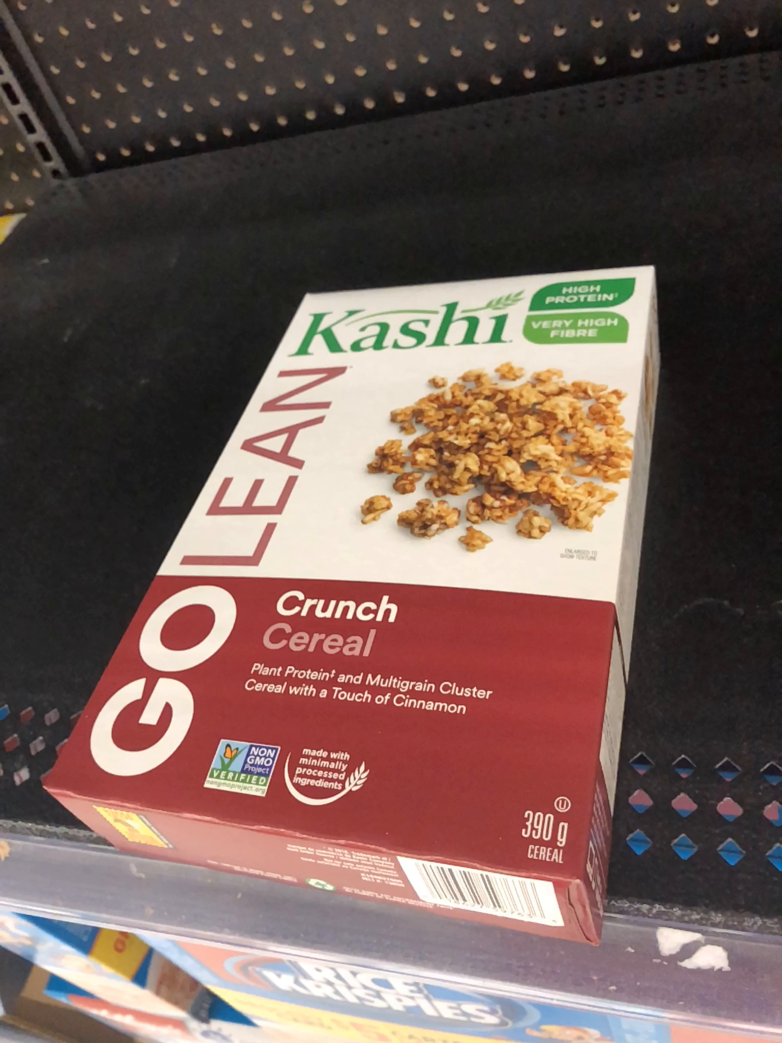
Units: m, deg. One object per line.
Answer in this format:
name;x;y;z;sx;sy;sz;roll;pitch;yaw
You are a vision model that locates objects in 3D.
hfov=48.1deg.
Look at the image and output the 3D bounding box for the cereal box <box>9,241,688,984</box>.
cereal box;0.014;-0.003;0.340;0.180;0.050;0.291;2;47;20
